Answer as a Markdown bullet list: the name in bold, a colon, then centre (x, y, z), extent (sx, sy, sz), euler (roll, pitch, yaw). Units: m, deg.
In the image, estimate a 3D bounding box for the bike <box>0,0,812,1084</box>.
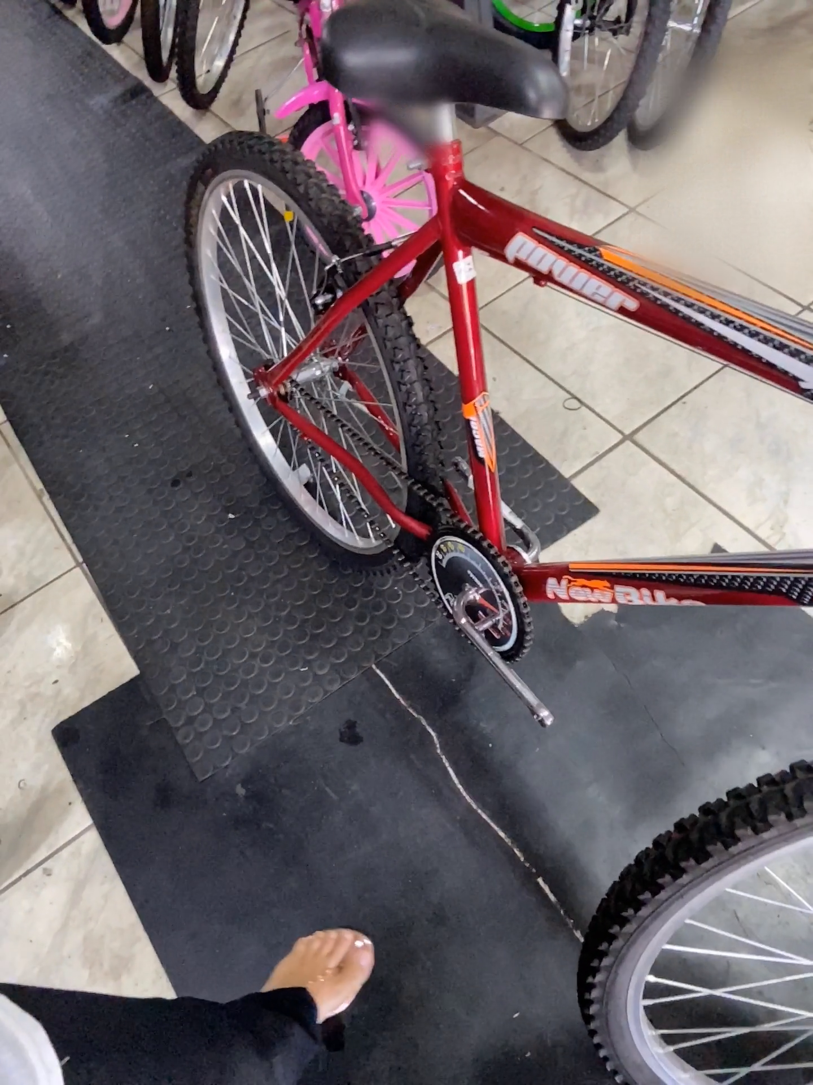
- **bike**: centre (0.191, -0.219, 0.815), extent (1.586, 1.030, 0.566), euler (35, 69, 32)
